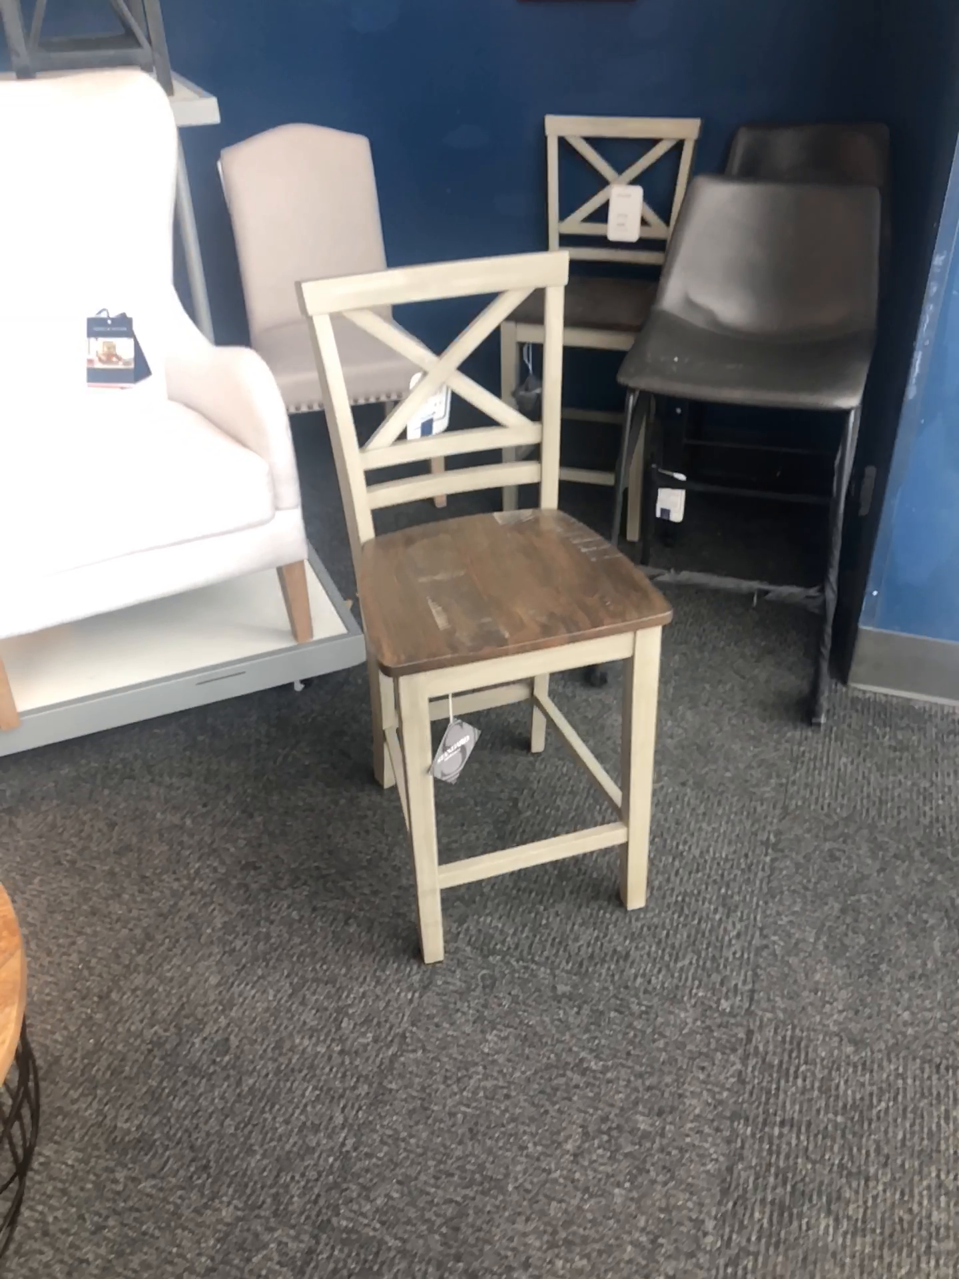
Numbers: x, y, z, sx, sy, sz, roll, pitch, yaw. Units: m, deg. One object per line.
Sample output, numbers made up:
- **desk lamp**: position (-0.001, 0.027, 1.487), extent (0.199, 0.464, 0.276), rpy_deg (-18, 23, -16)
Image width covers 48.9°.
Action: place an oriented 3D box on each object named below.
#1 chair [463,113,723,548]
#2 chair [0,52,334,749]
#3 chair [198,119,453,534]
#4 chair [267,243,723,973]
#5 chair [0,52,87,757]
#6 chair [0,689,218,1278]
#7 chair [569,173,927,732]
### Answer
- **chair**: position (0.299, -0.810, 2.746), extent (0.470, 0.934, 0.537), rpy_deg (12, 36, 20)
- **chair**: position (-0.784, -0.493, 2.012), extent (0.690, 1.013, 0.707), rpy_deg (-18, 37, -22)
- **chair**: position (-0.419, -0.876, 2.927), extent (0.520, 0.924, 0.587), rpy_deg (-10, 35, -12)
- **chair**: position (0.001, -0.051, 1.655), extent (0.470, 0.934, 0.537), rpy_deg (-11, 35, -12)
- **chair**: position (-0.964, -0.368, 1.651), extent (0.380, 0.914, 0.486), rpy_deg (-18, 37, -22)
- **chair**: position (-0.756, 0.531, 1.243), extent (0.521, 0.536, 0.686), rpy_deg (-27, 41, -32)
- **chair**: position (0.507, -0.384, 2.130), extent (0.539, 0.934, 0.537), rpy_deg (7, 35, 14)
